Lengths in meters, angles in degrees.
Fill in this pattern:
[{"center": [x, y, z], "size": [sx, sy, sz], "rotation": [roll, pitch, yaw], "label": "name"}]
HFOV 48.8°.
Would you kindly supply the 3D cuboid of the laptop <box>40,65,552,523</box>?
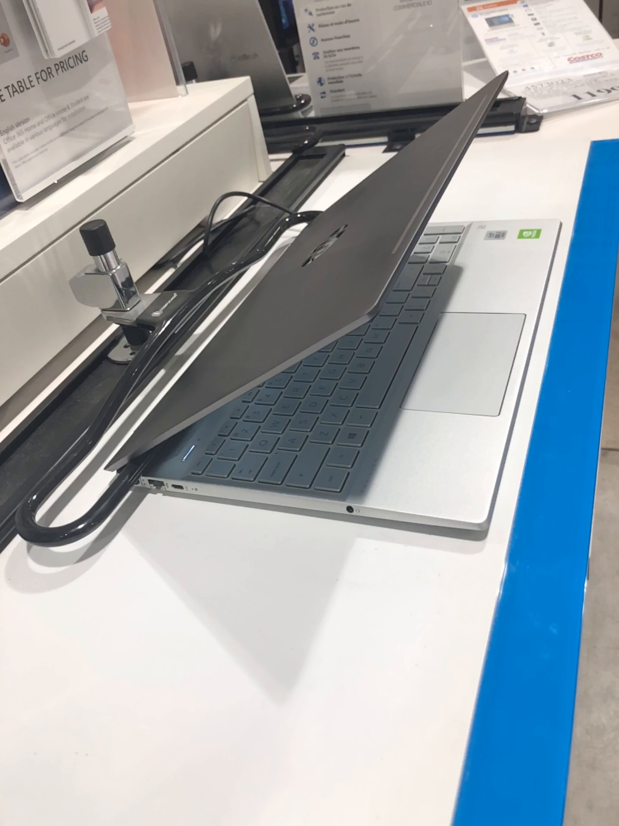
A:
[{"center": [0.033, -0.110, 0.468], "size": [0.215, 0.124, 0.349], "rotation": [5, 41, 23], "label": "laptop"}]
